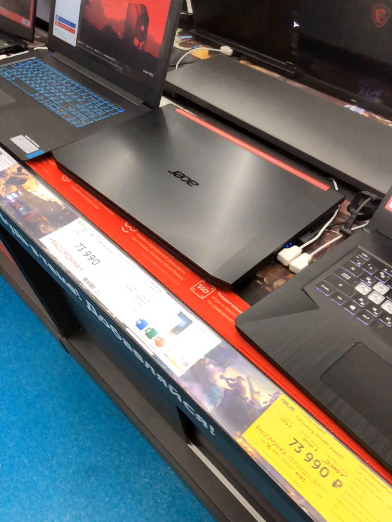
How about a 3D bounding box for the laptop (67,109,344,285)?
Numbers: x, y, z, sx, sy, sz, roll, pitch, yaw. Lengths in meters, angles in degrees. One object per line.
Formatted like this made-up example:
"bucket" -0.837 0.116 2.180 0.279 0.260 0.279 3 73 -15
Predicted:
"laptop" 0.010 -0.133 0.688 0.371 0.002 0.255 37 54 27
